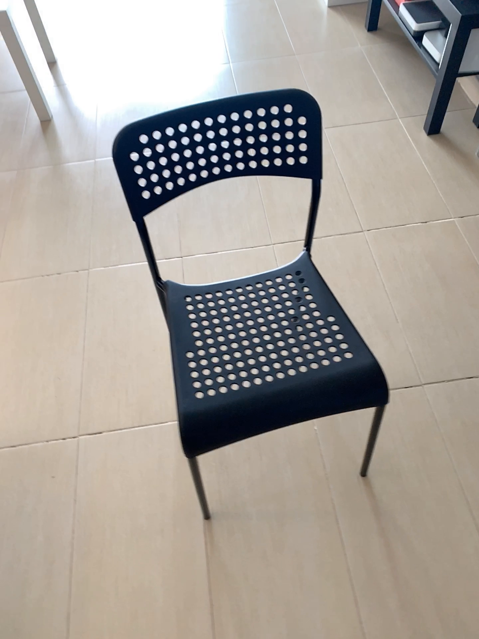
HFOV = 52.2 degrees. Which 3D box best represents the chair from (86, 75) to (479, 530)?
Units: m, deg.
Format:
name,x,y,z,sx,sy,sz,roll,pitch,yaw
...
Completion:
name,x,y,z,sx,sy,sz,roll,pitch,yaw
chair,0.036,0.024,0.951,0.420,0.687,0.492,-14,56,-6
